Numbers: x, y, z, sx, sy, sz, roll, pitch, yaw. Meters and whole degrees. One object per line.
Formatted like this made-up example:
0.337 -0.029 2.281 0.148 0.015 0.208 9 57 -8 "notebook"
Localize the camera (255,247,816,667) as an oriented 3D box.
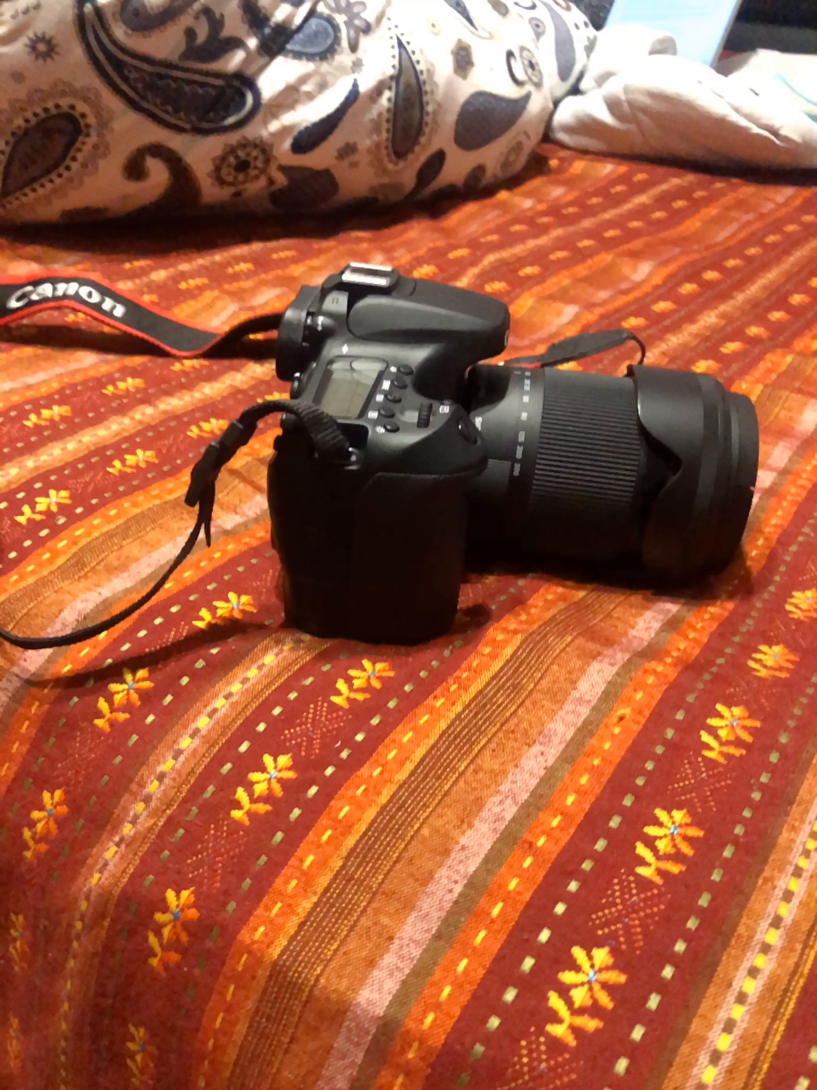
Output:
0.041 -0.039 0.341 0.170 0.099 0.131 2 35 0 "camera"
